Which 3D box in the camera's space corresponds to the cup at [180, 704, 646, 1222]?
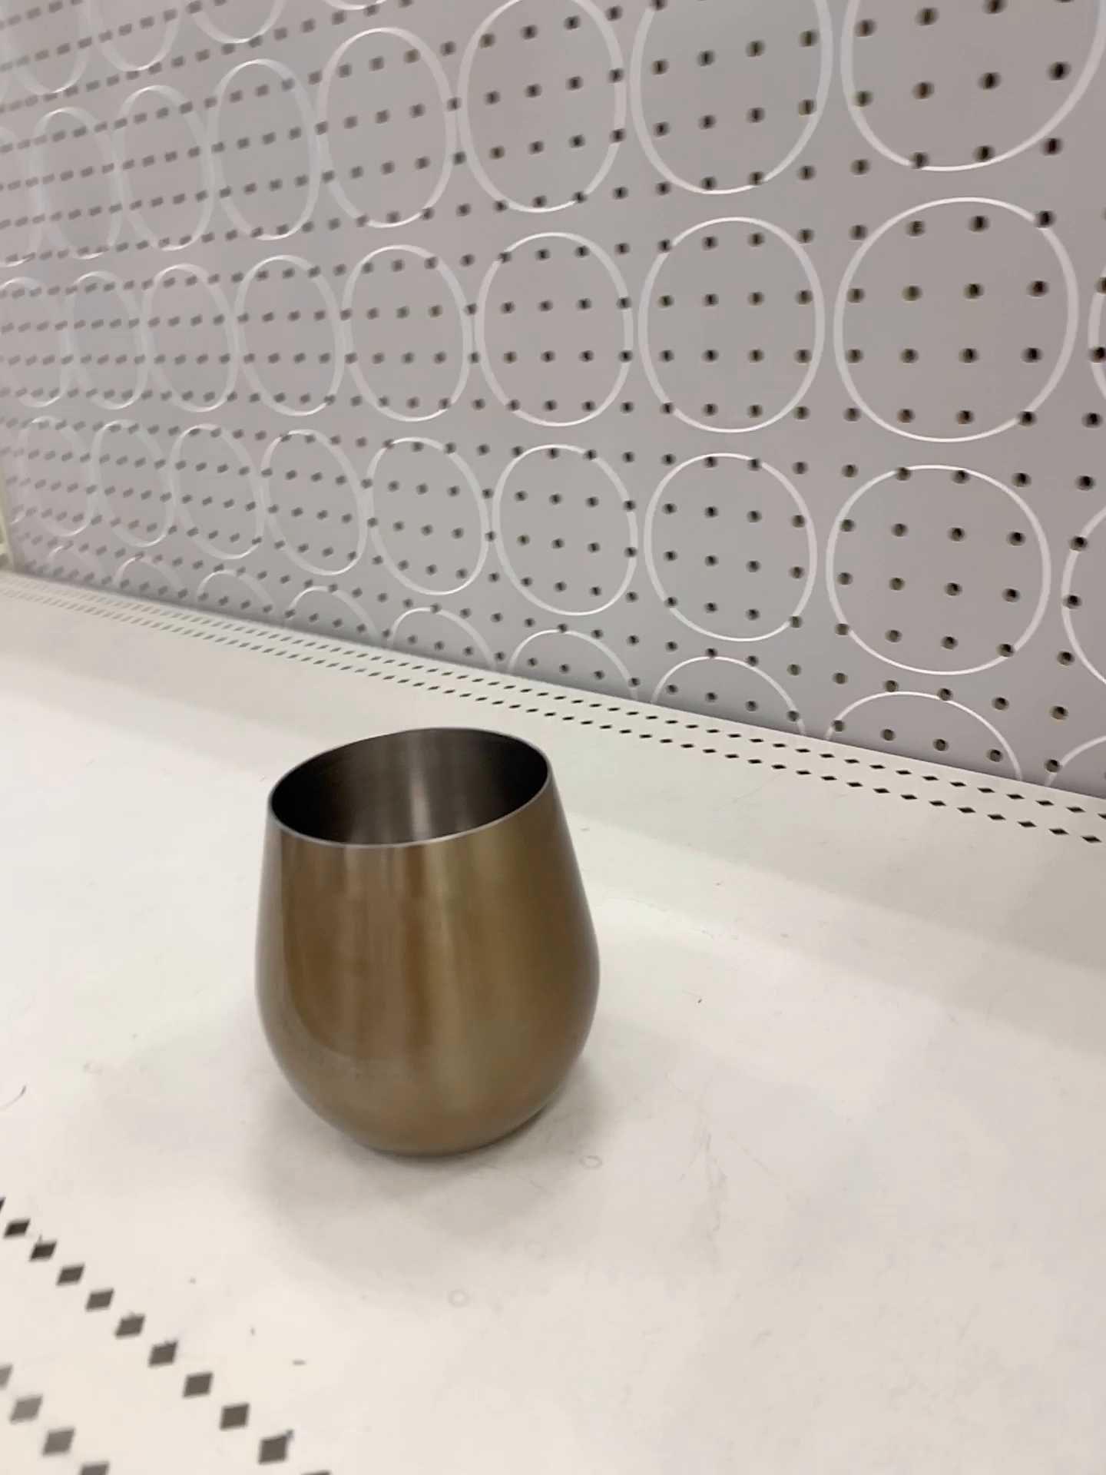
[{"bbox_3d":[-0.033,0.053,0.308,0.082,0.090,0.084,-3,22,1],"label":"cup"}]
